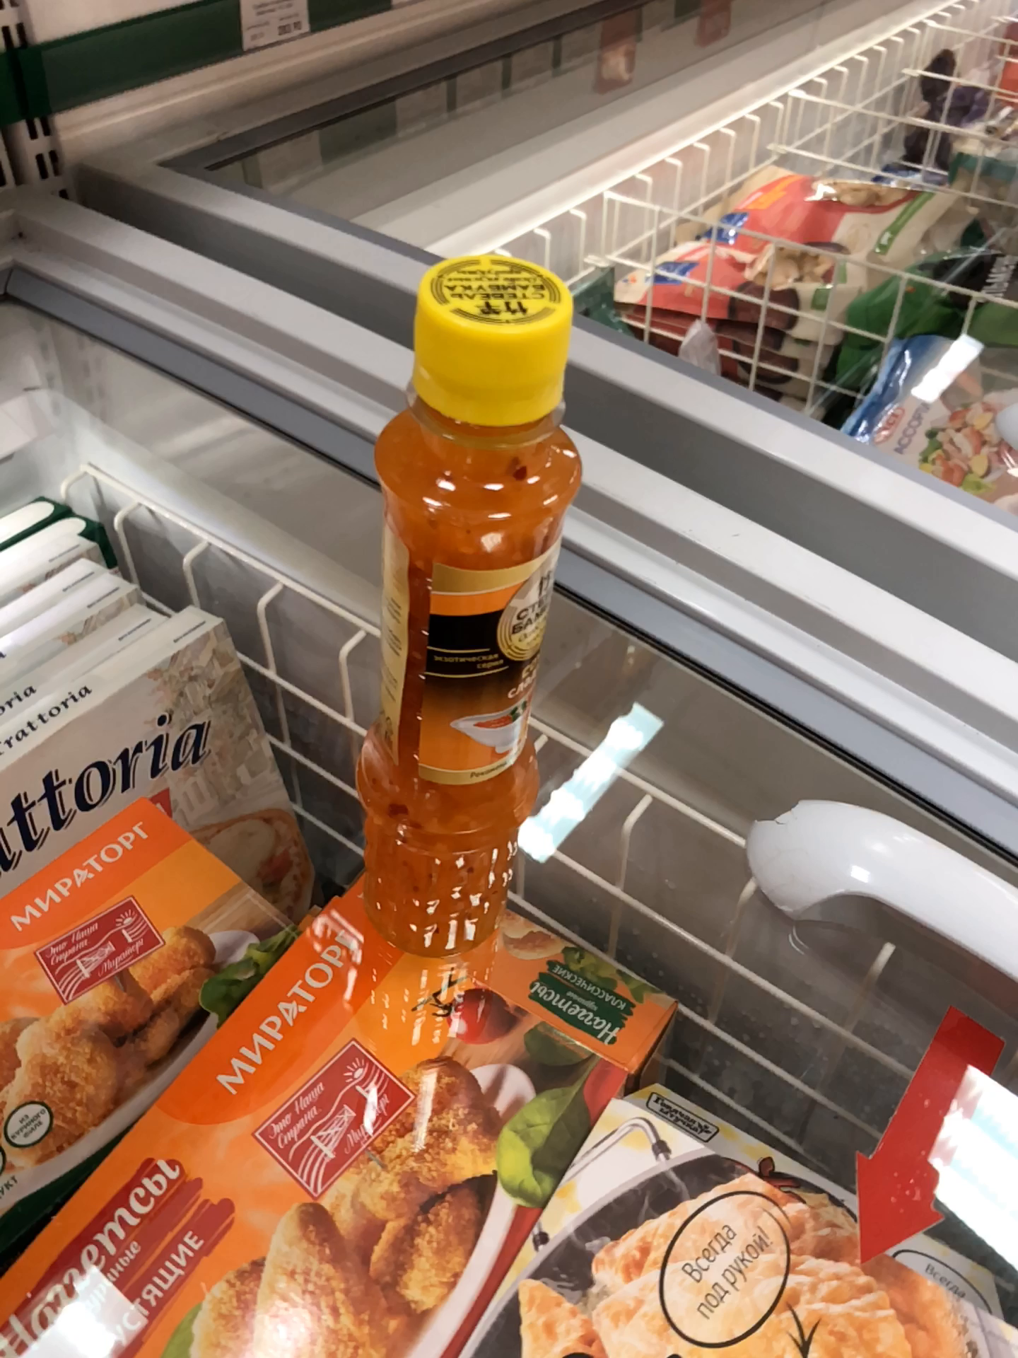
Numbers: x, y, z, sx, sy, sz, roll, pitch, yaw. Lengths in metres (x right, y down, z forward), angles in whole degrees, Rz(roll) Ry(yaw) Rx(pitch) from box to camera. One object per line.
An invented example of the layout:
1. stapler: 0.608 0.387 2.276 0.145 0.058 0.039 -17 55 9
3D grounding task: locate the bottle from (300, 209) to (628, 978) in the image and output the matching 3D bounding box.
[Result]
1. bottle: -0.015 -0.003 0.280 0.049 0.201 0.051 3 47 -4
